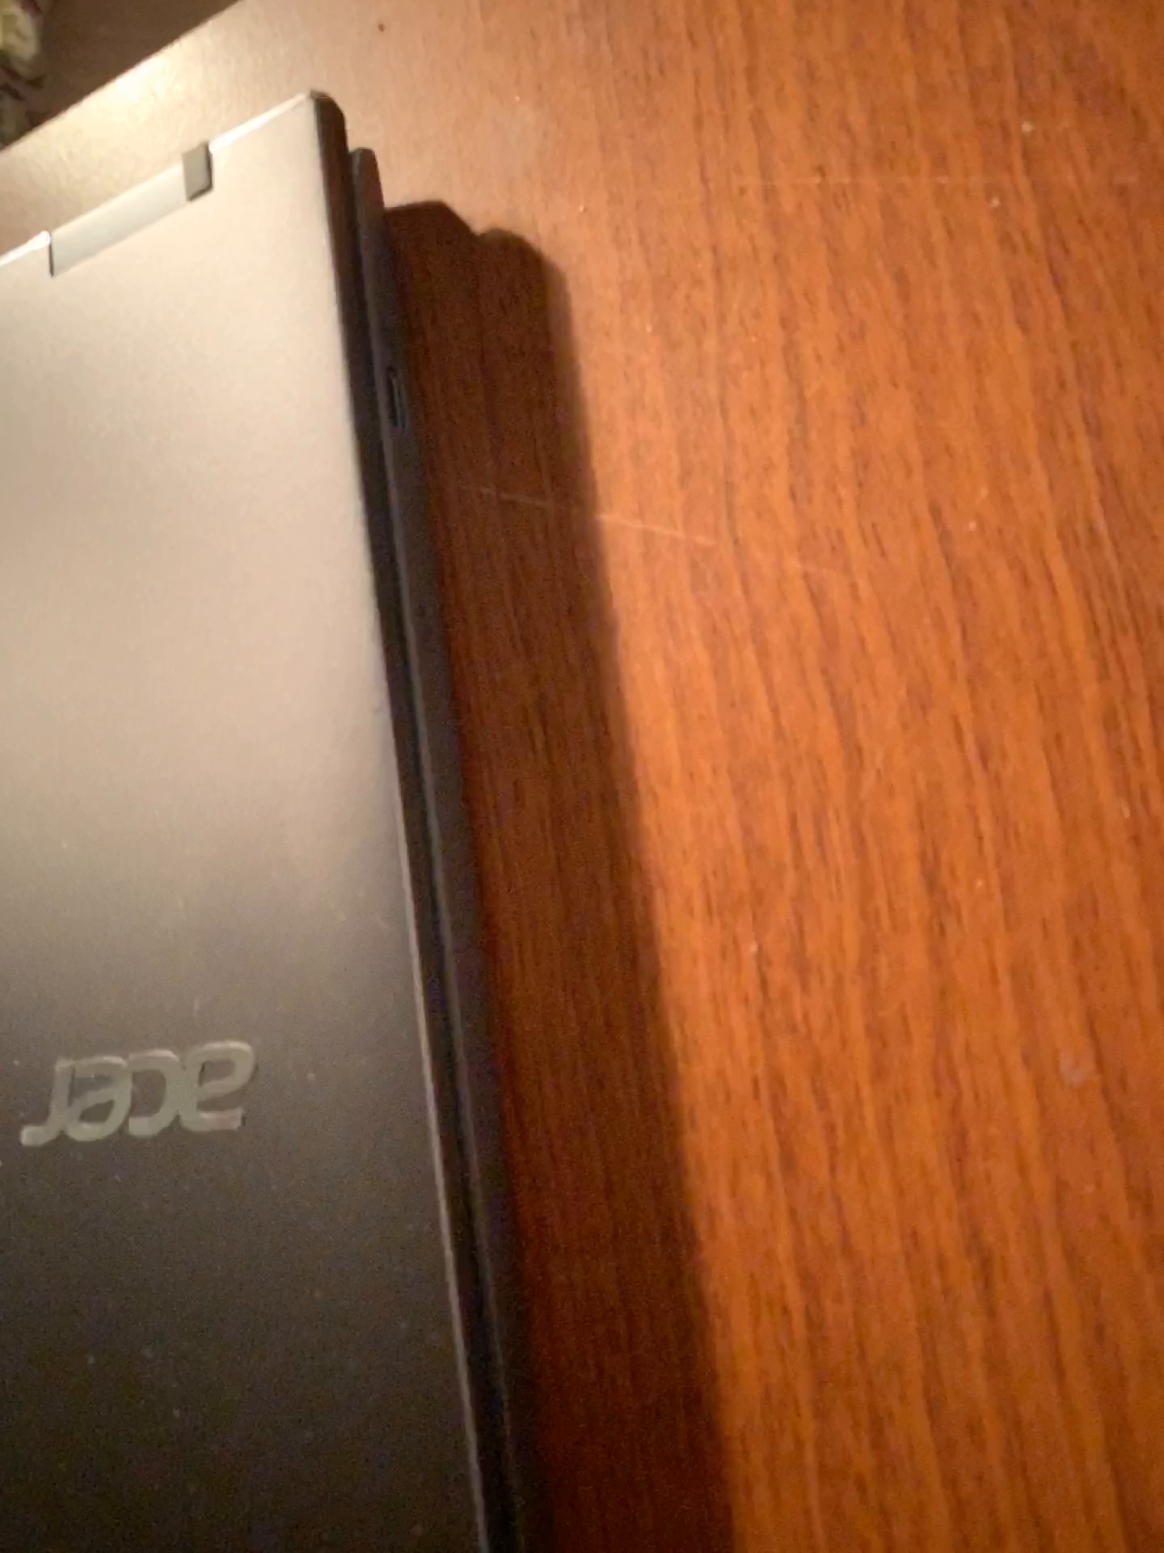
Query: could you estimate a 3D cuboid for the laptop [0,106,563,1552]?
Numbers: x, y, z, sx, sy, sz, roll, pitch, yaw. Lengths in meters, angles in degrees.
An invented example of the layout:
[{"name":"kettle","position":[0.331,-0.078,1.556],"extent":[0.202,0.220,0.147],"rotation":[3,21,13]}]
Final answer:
[{"name":"laptop","position":[-0.150,0.059,0.196],"extent":[0.300,0.002,0.232],"rotation":[-11,81,26]}]
